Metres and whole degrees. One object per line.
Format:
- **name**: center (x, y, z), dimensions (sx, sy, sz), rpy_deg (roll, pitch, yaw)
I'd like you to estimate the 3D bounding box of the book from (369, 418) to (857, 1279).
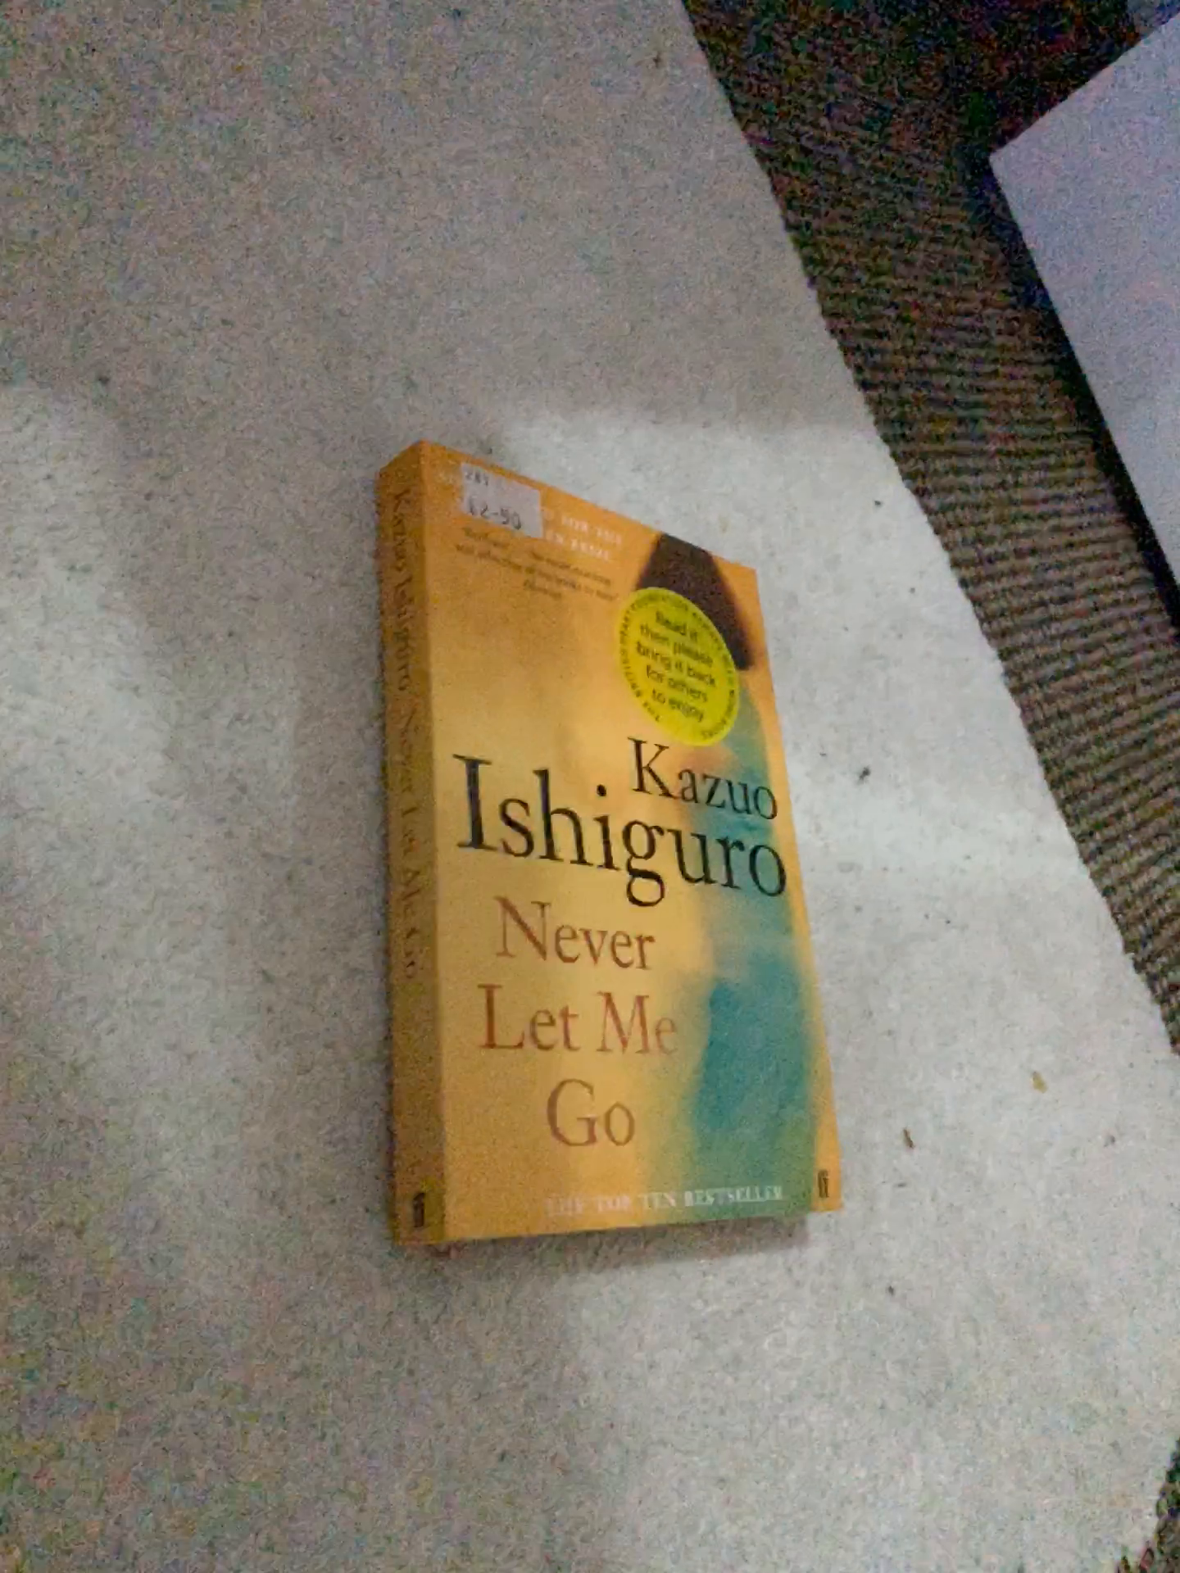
- **book**: center (0.006, 0.016, 0.334), dimensions (0.141, 0.020, 0.211), rpy_deg (13, 64, -38)
